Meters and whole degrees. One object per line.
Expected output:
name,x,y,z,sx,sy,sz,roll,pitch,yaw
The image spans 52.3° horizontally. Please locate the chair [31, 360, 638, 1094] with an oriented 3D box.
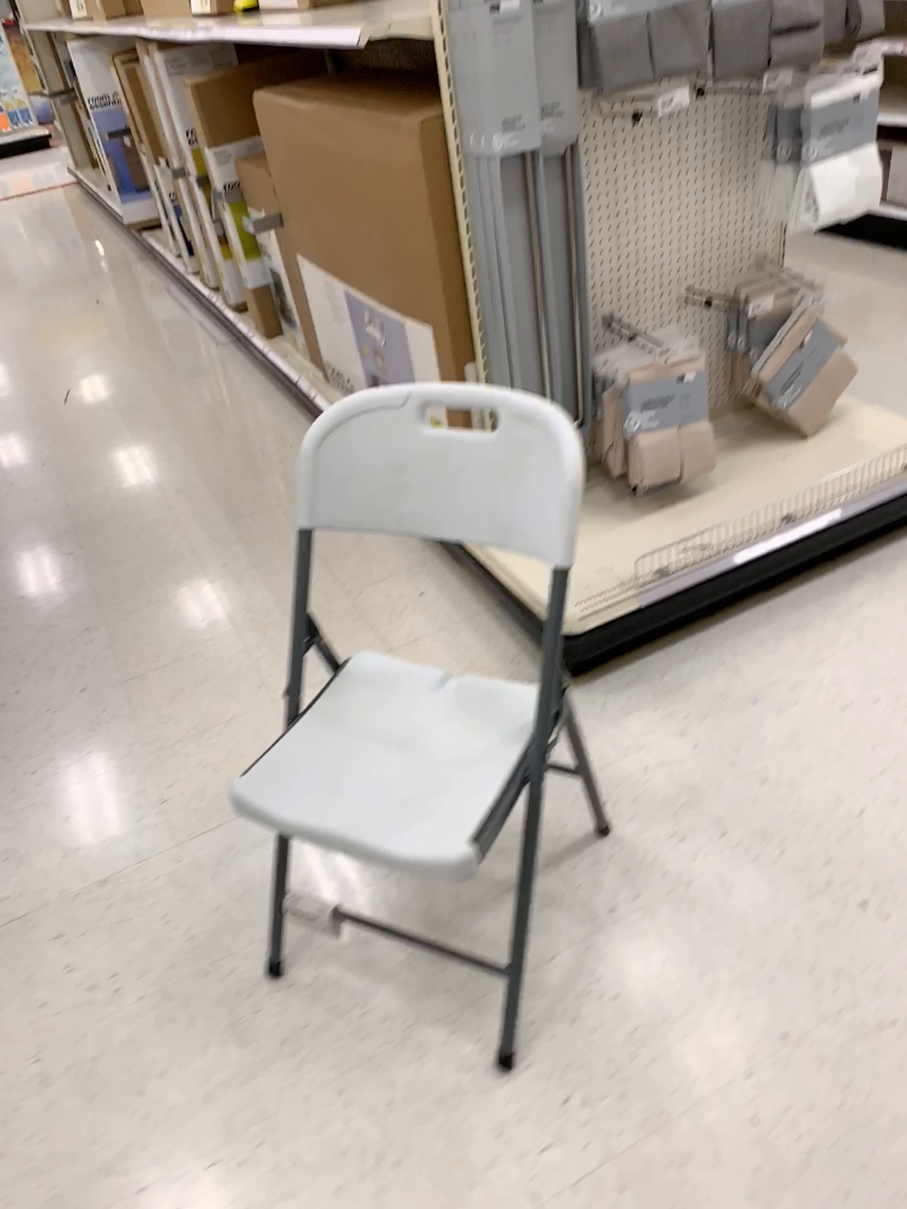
chair,-0.069,0.159,1.388,0.521,0.845,0.572,9,40,25
